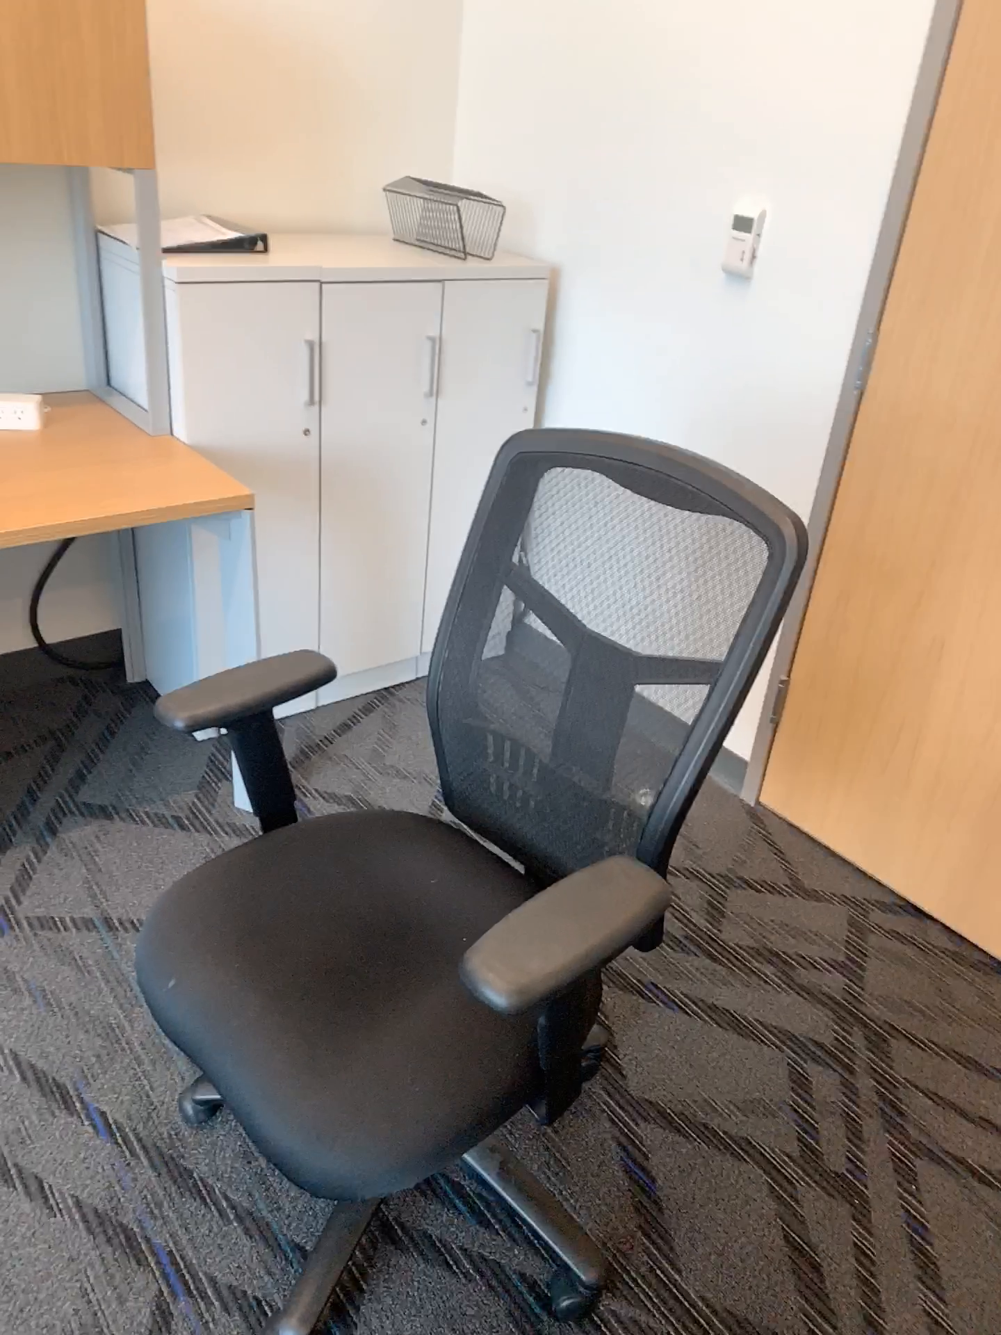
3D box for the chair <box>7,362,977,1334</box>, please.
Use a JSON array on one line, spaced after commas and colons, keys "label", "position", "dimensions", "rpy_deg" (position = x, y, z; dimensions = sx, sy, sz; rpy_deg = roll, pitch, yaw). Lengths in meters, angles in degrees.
[{"label": "chair", "position": [-0.058, 0.226, 1.253], "dimensions": [0.722, 0.992, 0.663], "rpy_deg": [-16, 35, -36]}]
